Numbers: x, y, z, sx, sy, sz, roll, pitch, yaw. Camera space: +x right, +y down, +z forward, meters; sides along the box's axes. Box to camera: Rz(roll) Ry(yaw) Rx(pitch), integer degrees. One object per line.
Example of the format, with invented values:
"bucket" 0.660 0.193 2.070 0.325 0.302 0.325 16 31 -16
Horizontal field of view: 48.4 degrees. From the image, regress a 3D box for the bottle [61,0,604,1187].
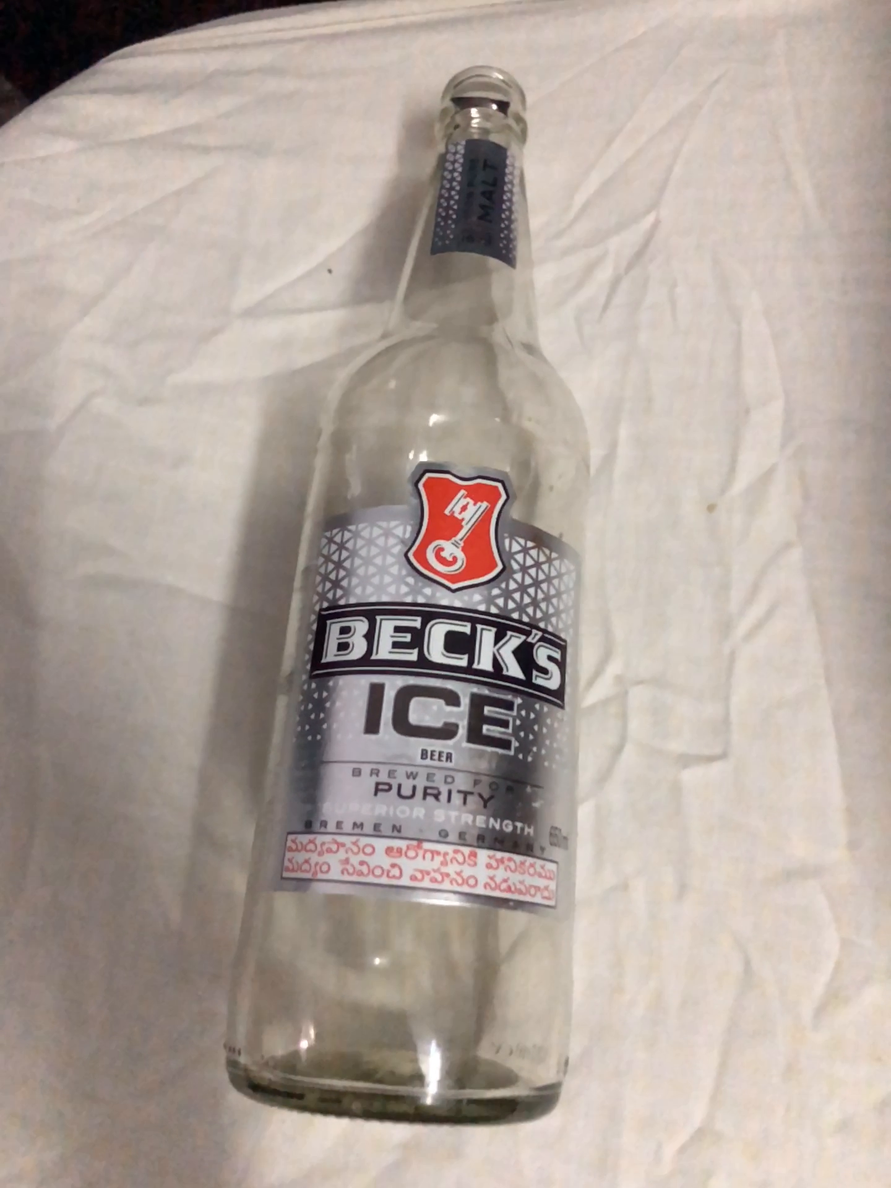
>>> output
"bottle" -0.008 -0.027 0.223 0.080 0.080 0.280 0 76 11
